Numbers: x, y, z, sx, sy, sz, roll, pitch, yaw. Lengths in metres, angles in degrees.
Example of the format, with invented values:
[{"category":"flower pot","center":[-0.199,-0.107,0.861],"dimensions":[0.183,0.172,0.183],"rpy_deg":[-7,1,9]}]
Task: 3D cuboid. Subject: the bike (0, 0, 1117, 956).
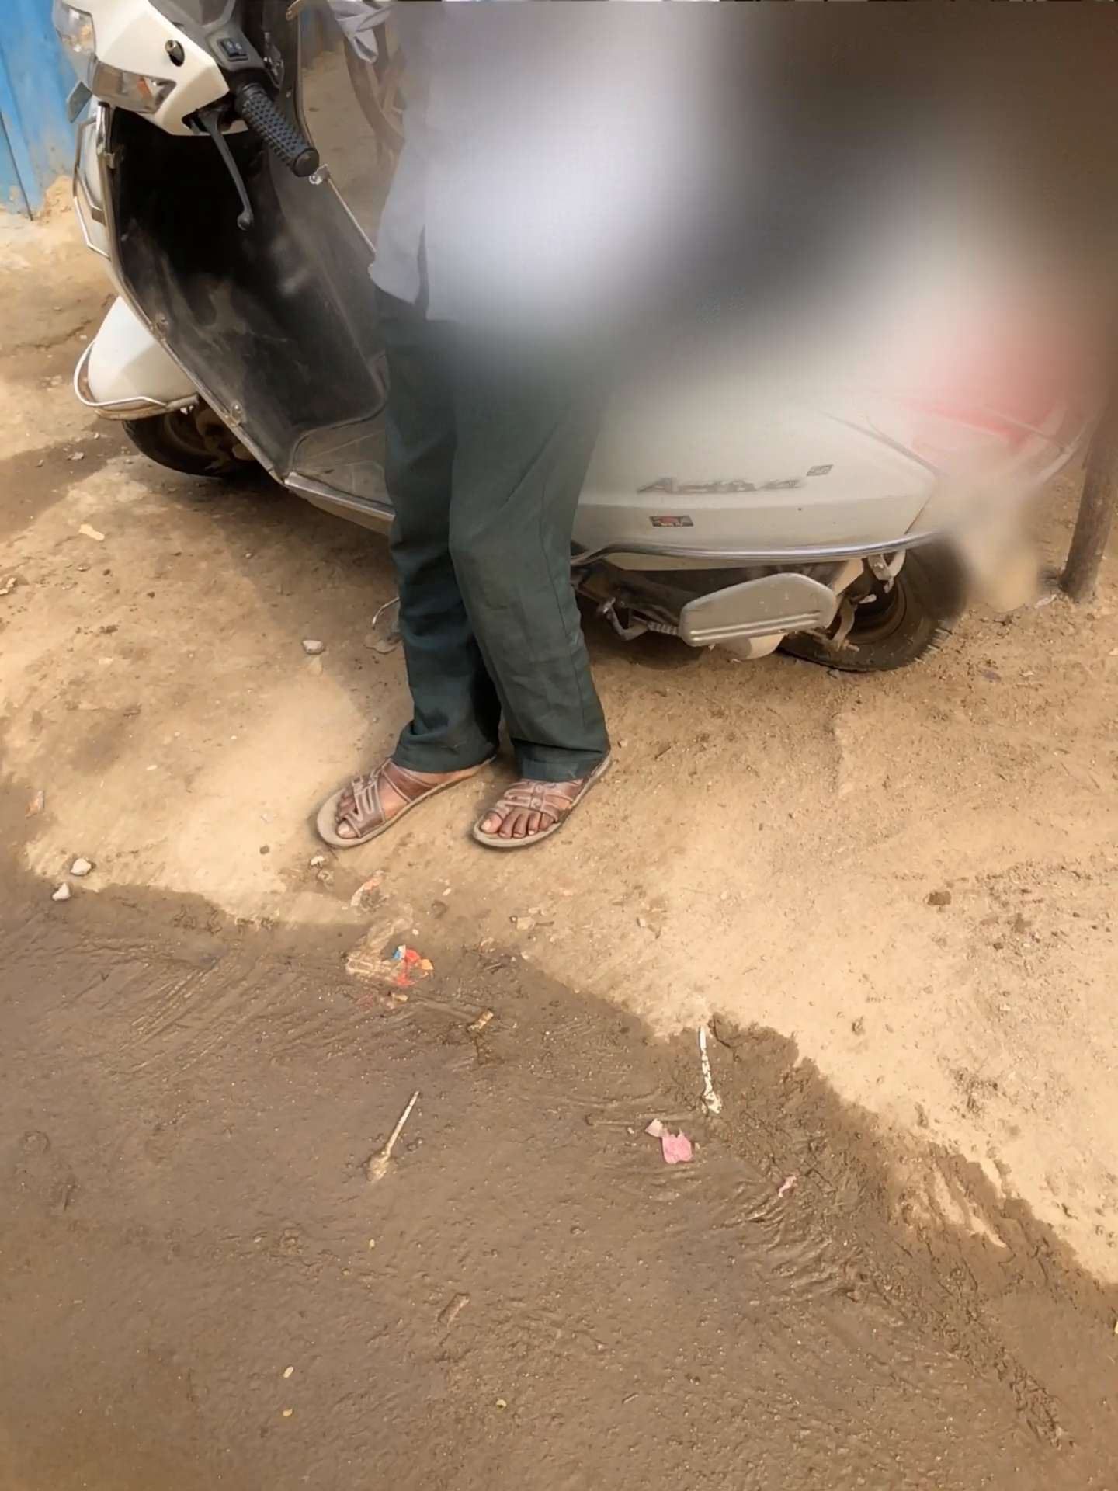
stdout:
[{"category":"bike","center":[-0.240,-0.549,1.685],"dimensions":[1.575,1.112,0.659],"rpy_deg":[17,46,24]}]
